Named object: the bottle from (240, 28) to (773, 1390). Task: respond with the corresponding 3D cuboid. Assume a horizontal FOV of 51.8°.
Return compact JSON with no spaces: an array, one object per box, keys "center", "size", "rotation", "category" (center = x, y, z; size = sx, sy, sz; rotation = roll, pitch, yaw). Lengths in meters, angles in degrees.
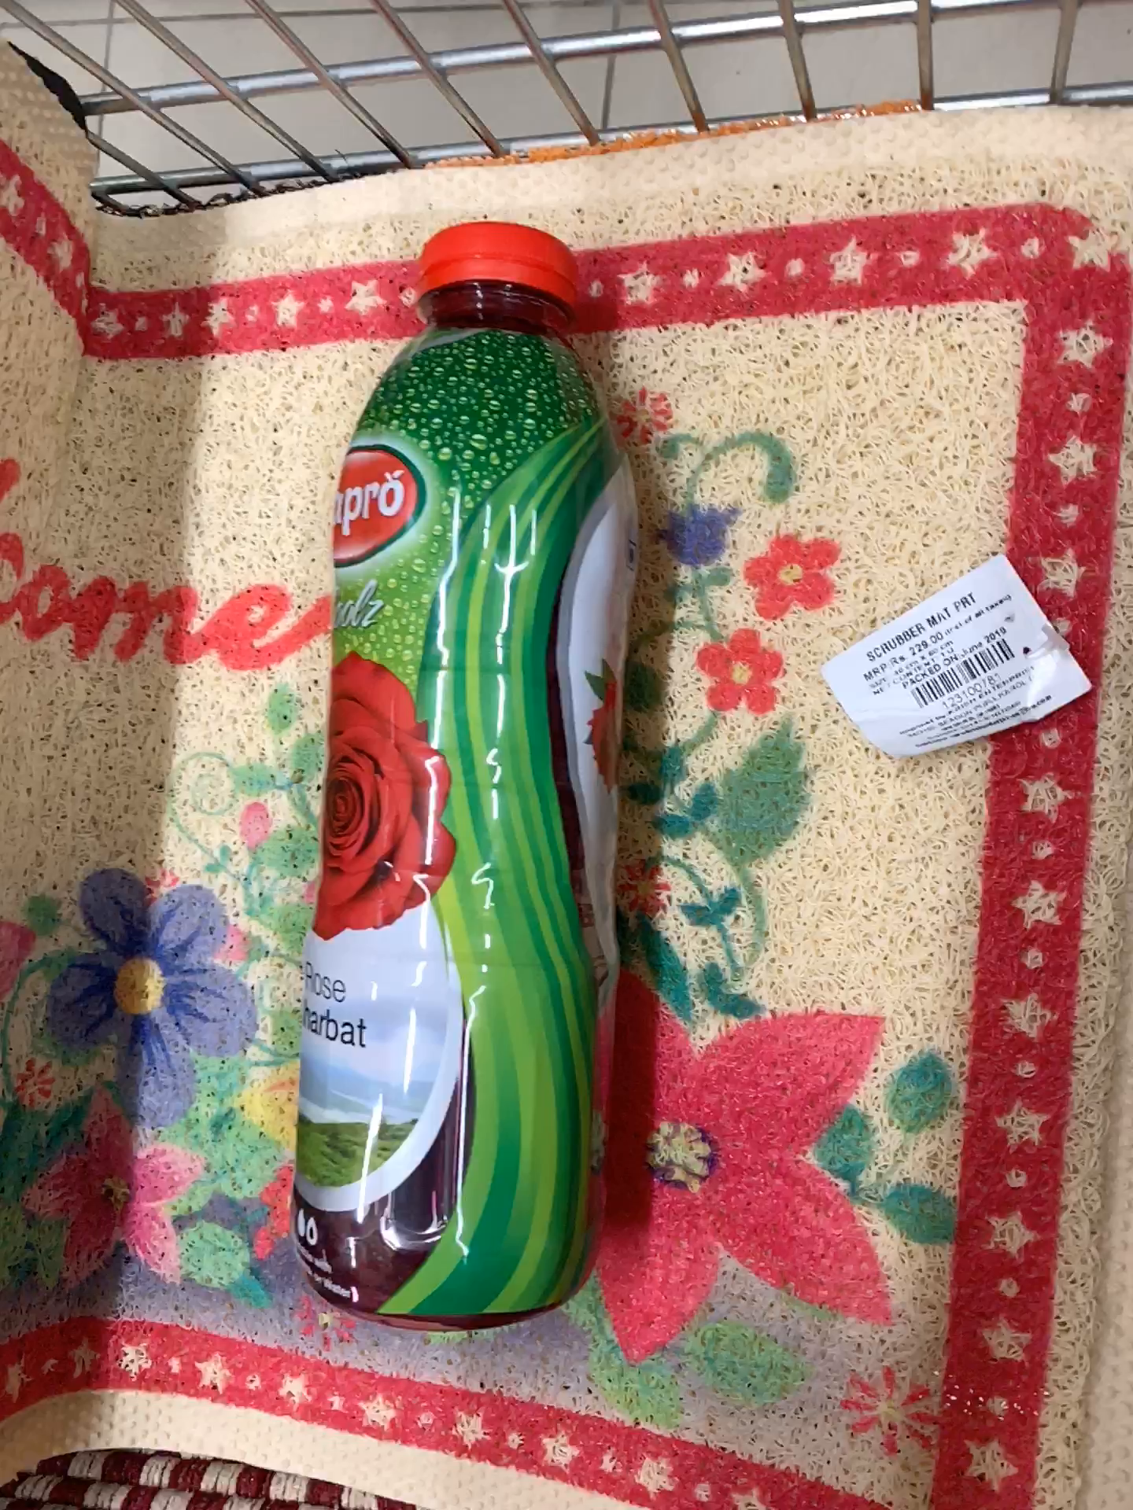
[{"center":[-0.015,-0.008,0.271],"size":[0.080,0.080,0.250],"rotation":[3,91,46],"category":"bottle"}]
